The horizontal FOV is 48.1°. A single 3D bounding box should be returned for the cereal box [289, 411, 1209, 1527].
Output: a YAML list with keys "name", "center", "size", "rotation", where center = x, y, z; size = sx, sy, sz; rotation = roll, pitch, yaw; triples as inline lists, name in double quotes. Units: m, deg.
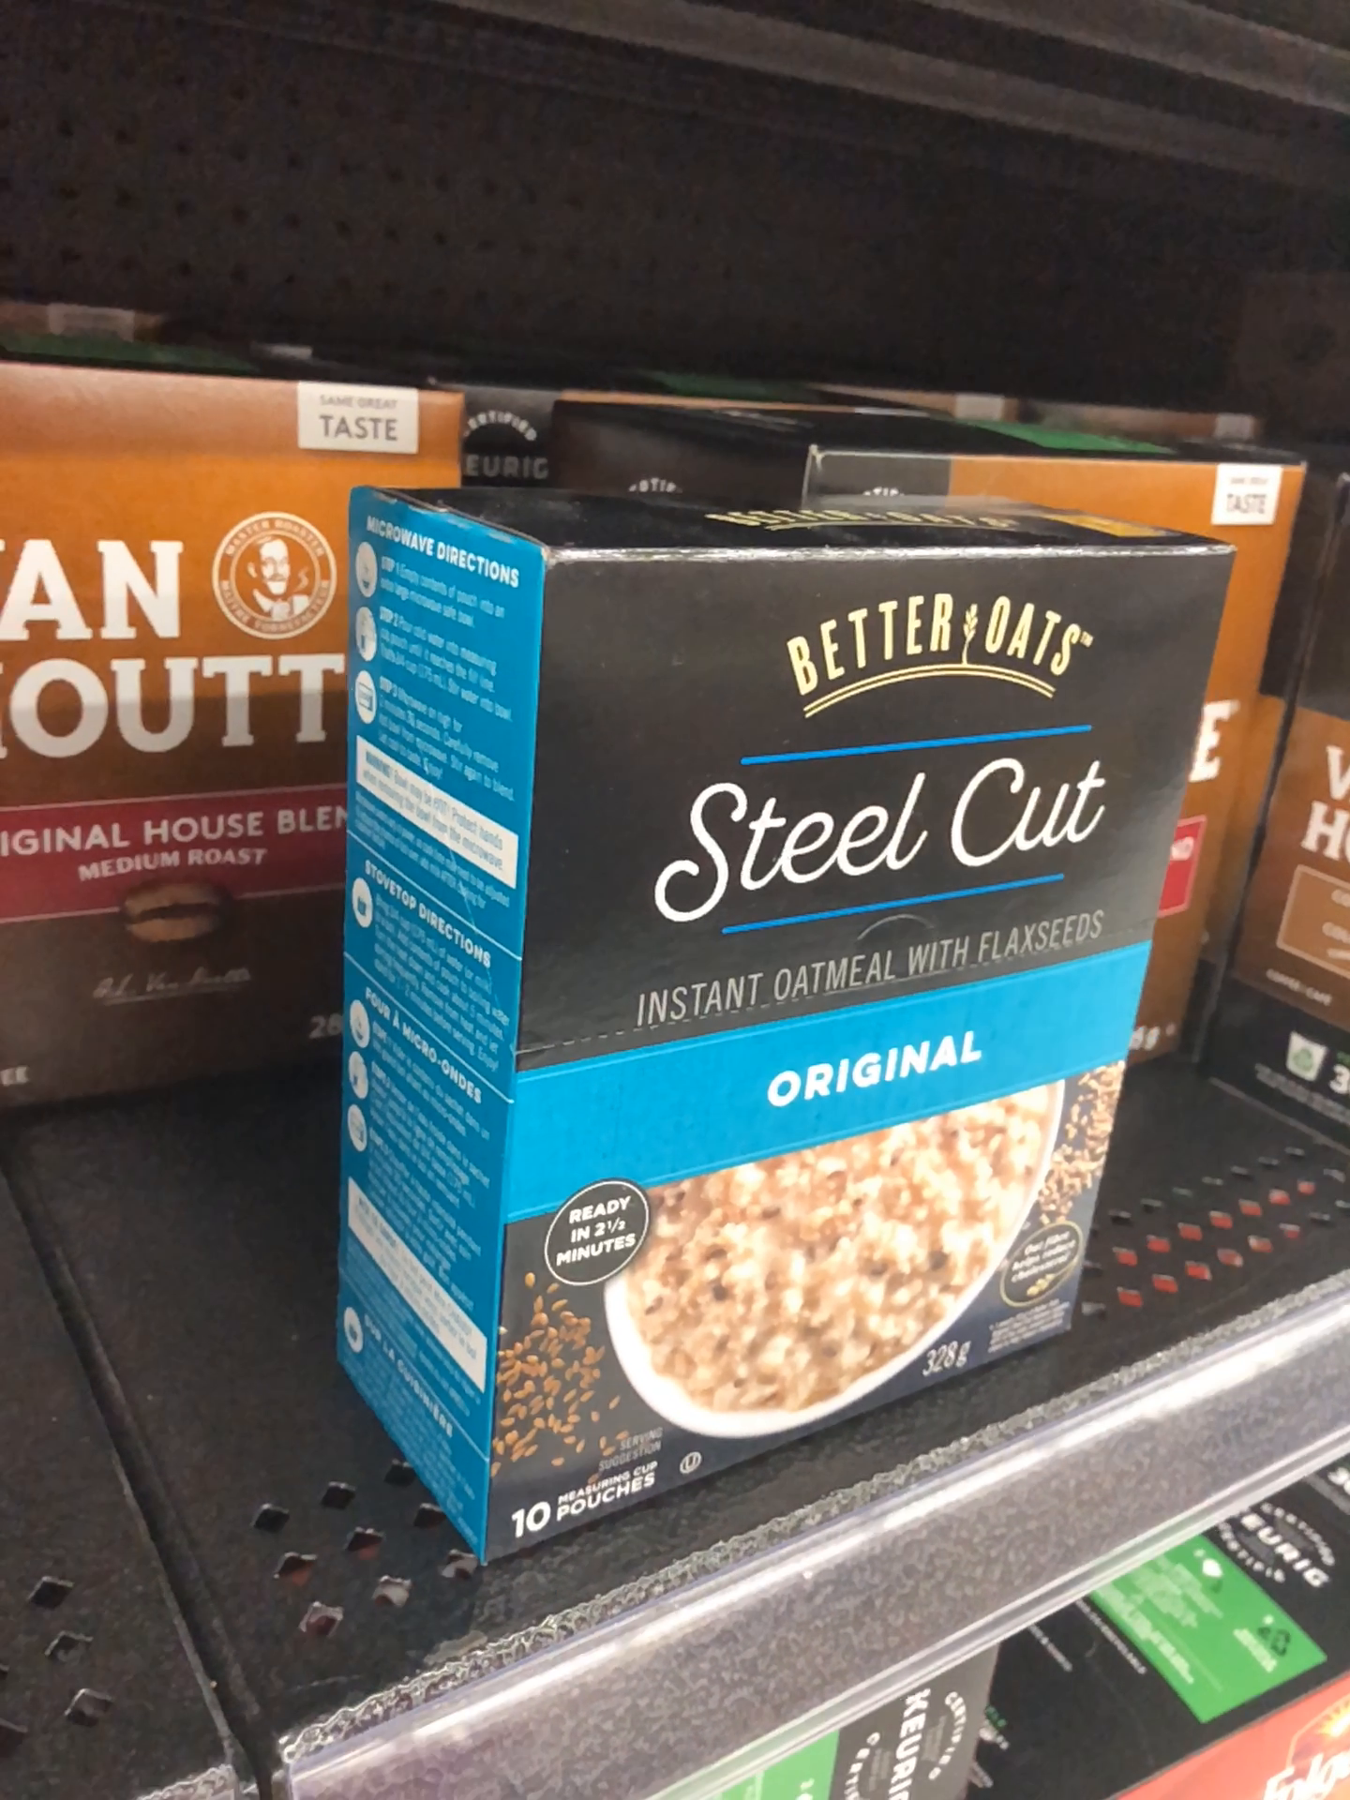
- name: "cereal box"
  center: [0.011, 0.007, 0.296]
  size: [0.150, 0.179, 0.060]
  rotation: [-8, 27, -35]
